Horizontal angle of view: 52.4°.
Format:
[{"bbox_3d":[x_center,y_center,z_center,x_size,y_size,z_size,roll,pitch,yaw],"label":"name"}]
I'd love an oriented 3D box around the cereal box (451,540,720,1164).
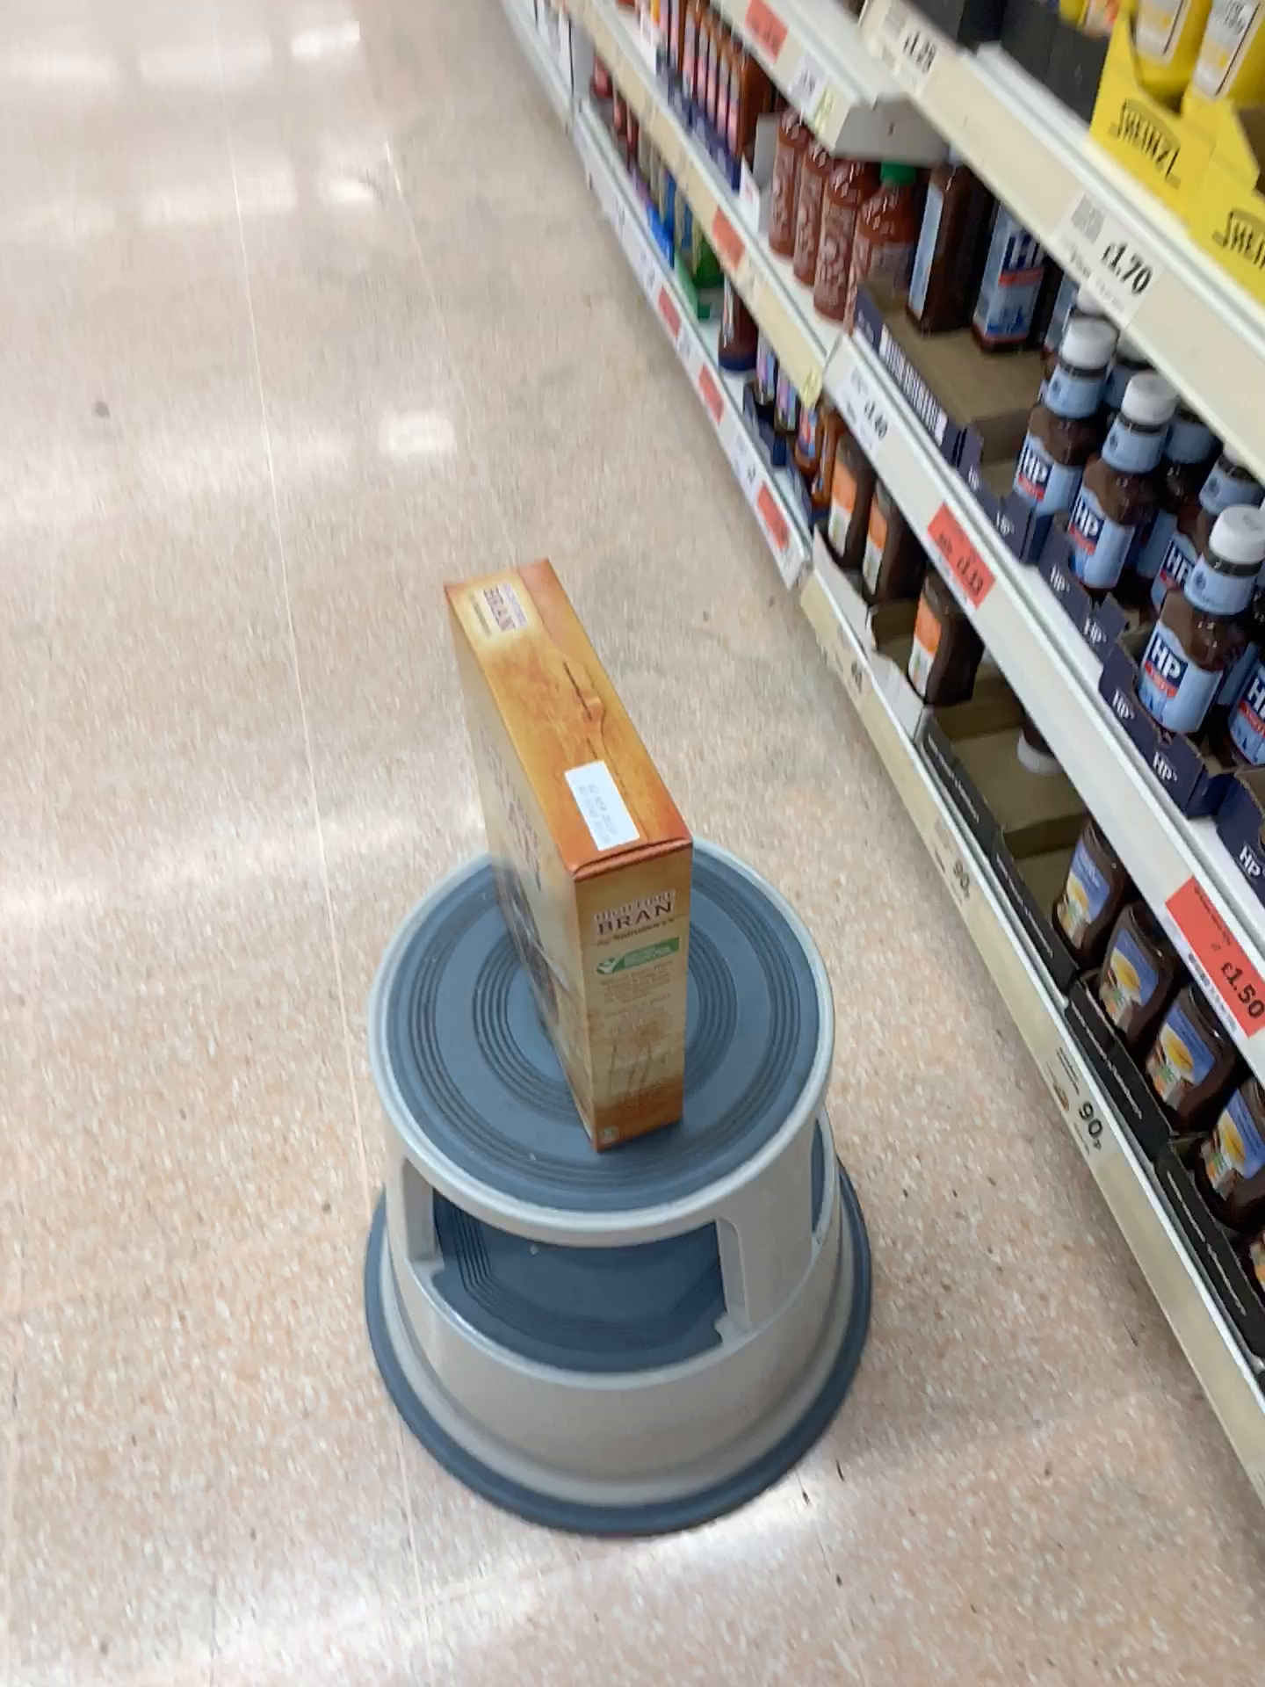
[{"bbox_3d":[-0.025,0.015,0.694,0.060,0.278,0.202,-17,53,-12],"label":"cereal box"}]
